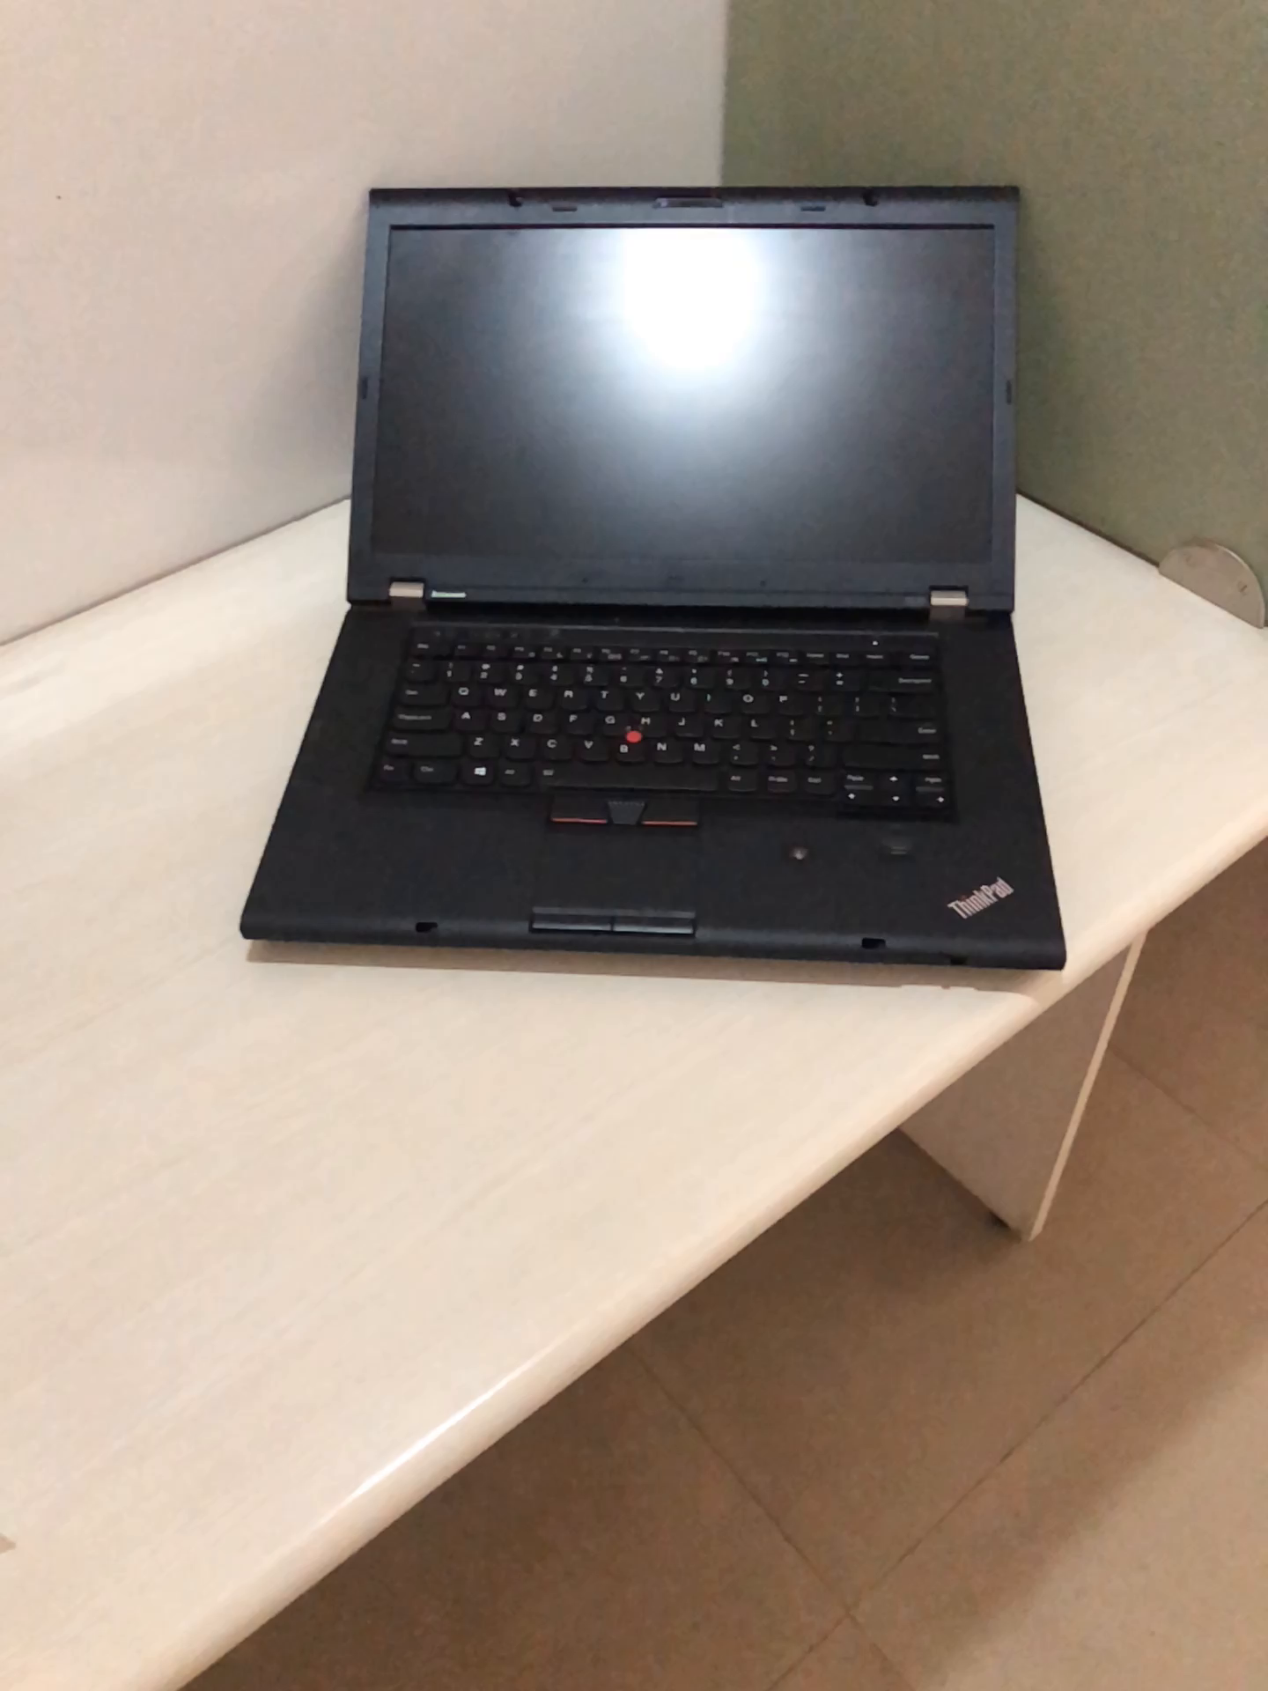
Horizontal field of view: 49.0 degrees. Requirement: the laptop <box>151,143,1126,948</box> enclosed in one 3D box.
[{"bbox_3d":[0.017,-0.170,0.682,0.353,0.142,0.413,2,50,5],"label":"laptop"}]
